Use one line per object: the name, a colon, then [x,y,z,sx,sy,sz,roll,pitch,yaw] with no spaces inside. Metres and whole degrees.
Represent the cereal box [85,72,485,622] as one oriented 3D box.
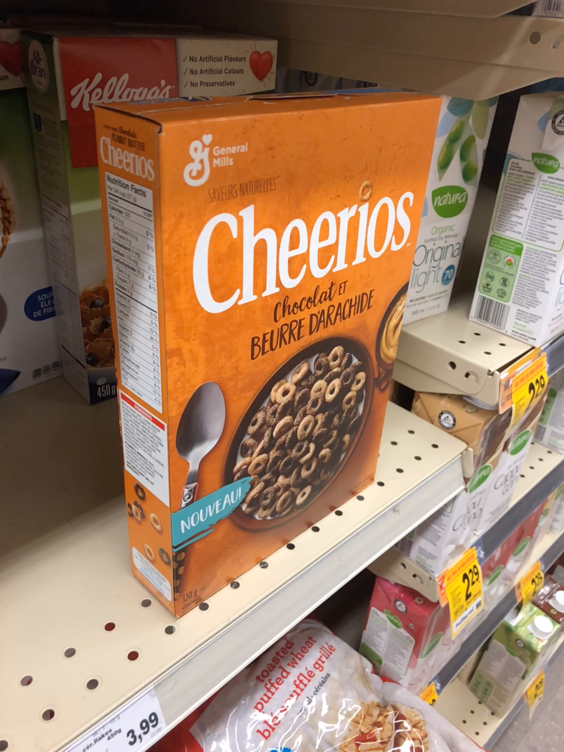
cereal box: [0.007,-0.021,0.358,0.211,0.268,0.050,-24,42,-38]
